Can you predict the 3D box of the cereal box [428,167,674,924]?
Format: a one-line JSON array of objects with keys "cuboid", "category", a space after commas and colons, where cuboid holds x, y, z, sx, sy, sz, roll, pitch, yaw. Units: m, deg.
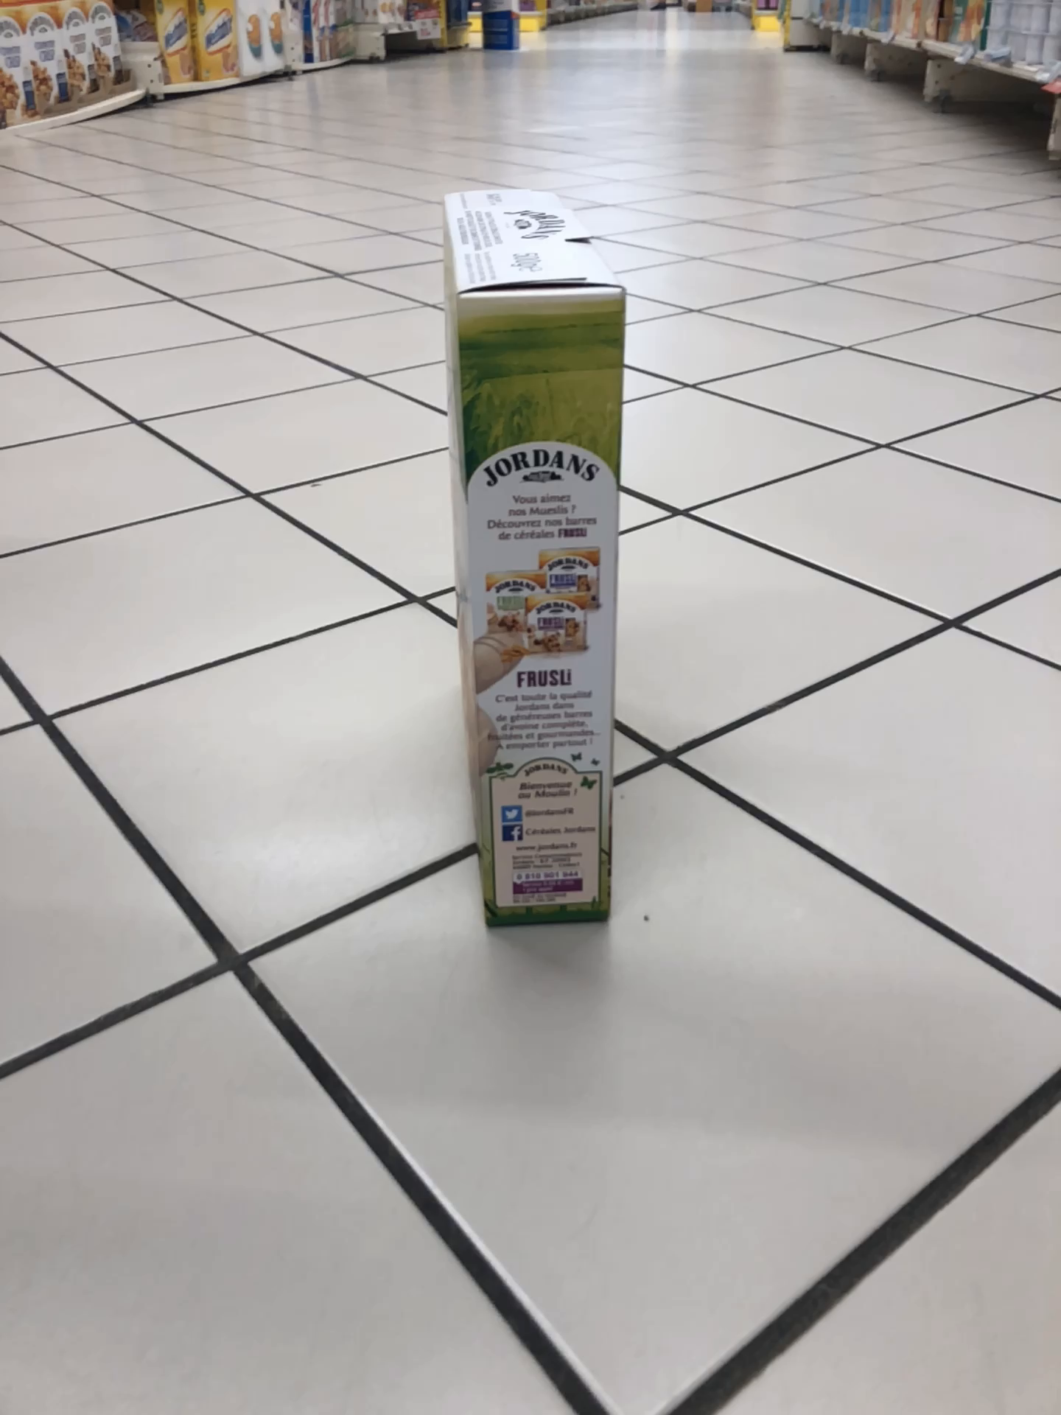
[{"cuboid": [-0.001, -0.068, 0.417, 0.060, 0.209, 0.191, -3, 31, -4], "category": "cereal box"}]
